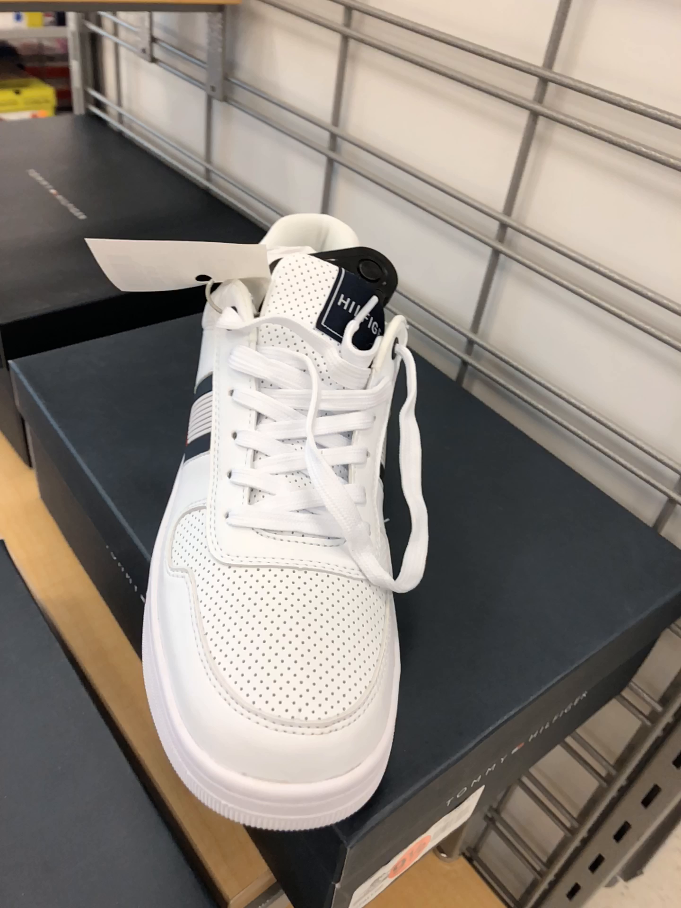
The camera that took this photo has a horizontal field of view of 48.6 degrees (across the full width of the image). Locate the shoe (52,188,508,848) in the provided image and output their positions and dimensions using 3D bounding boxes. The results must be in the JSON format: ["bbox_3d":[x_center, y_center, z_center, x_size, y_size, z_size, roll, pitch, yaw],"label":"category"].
[{"bbox_3d":[-0.025,-0.002,0.325,0.110,0.109,0.282,5,39,-7],"label":"shoe"}]
